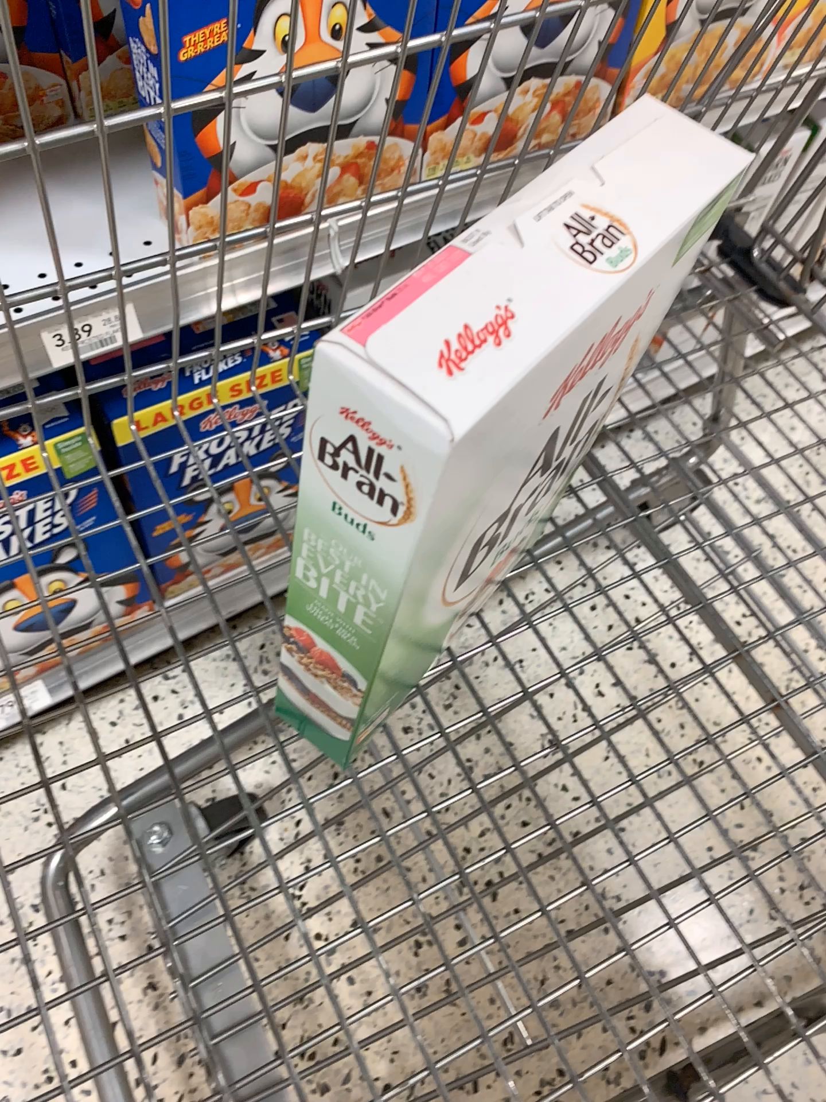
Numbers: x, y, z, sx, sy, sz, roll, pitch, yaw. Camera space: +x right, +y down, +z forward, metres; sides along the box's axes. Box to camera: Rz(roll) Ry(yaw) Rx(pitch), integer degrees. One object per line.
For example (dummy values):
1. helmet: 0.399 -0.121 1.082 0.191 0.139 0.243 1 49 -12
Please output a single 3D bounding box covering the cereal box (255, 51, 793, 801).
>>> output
1. cereal box: 0.023 -0.023 0.370 0.050 0.298 0.201 37 59 11
